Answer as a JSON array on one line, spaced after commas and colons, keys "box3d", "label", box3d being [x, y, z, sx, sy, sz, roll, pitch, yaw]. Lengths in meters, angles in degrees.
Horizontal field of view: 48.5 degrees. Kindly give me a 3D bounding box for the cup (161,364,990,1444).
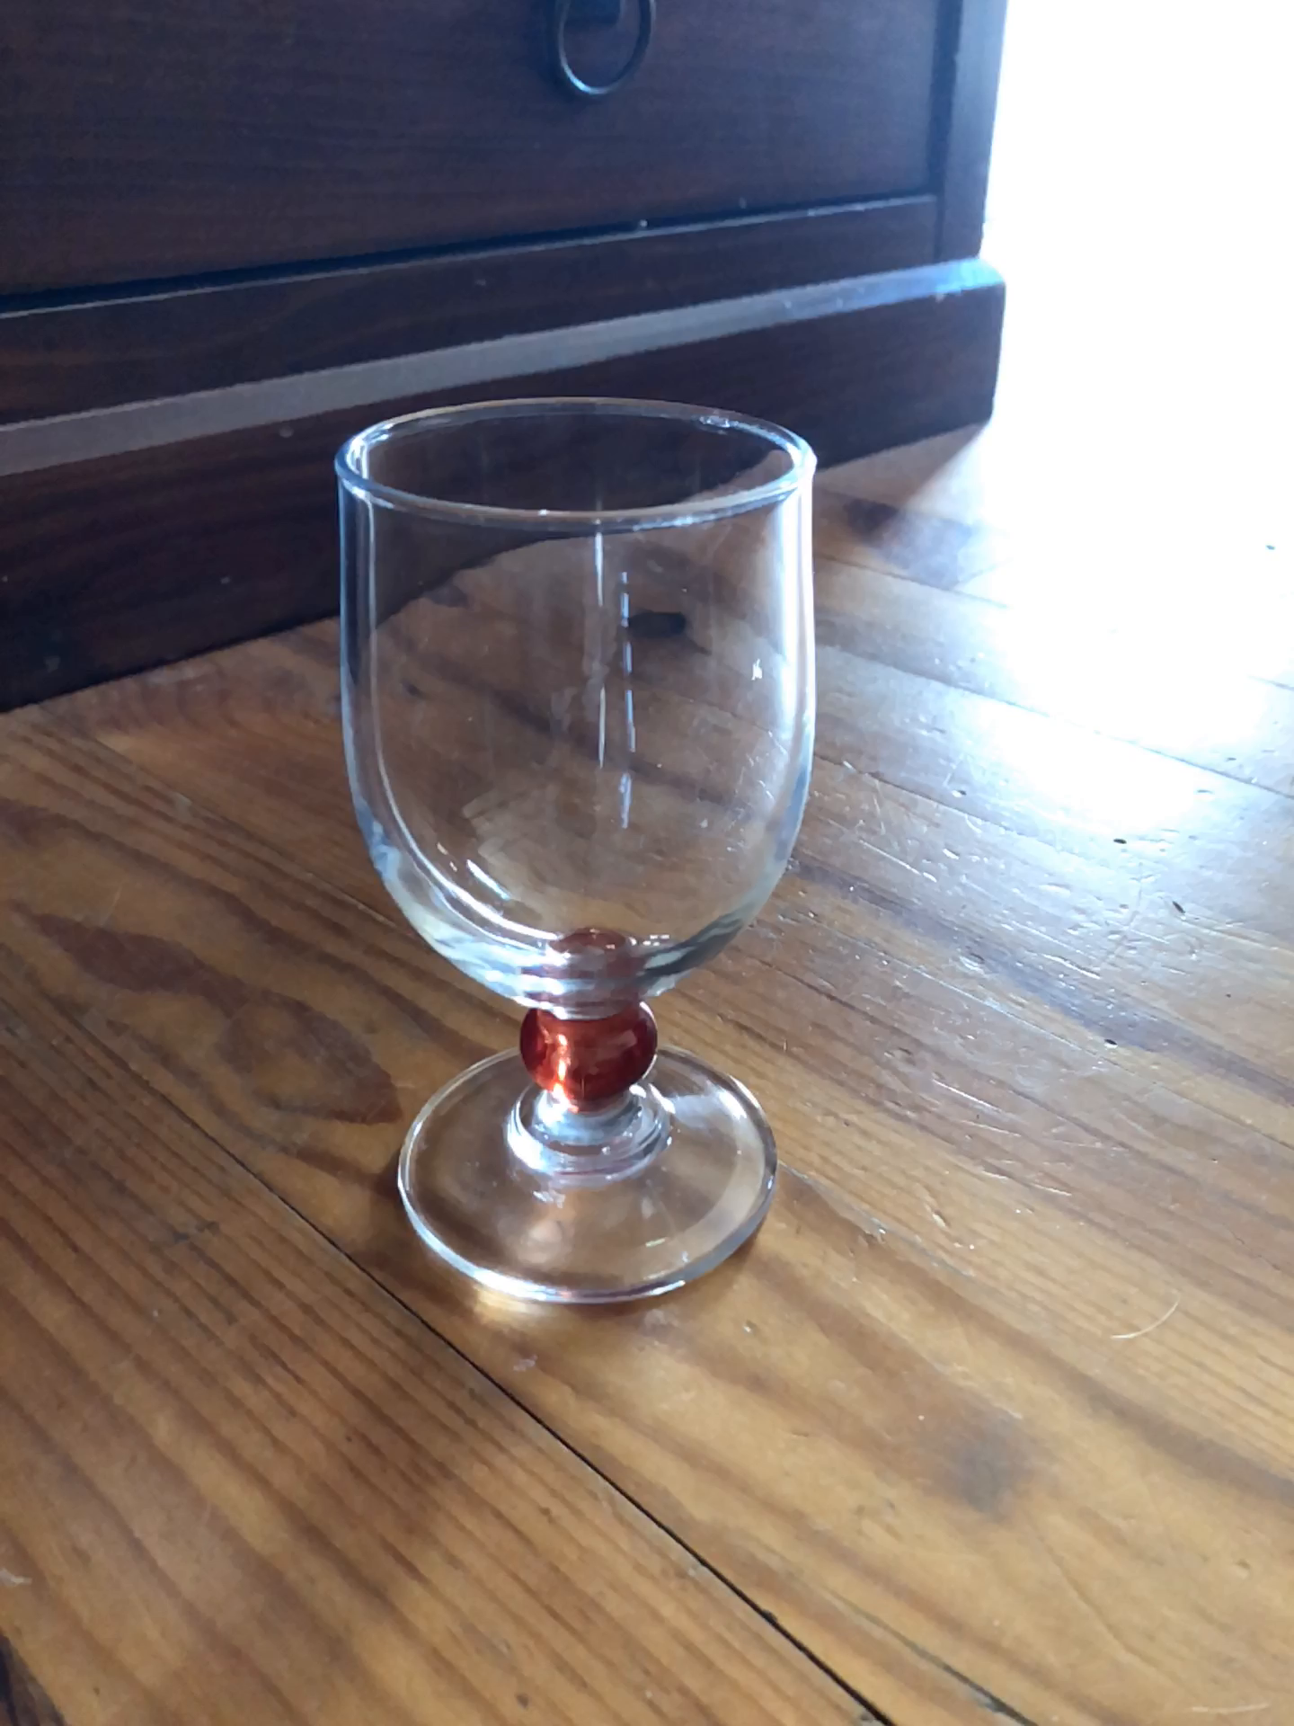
[{"box3d": [-0.013, -0.001, 0.233, 0.084, 0.132, 0.088, 0, 30, 0], "label": "cup"}]
